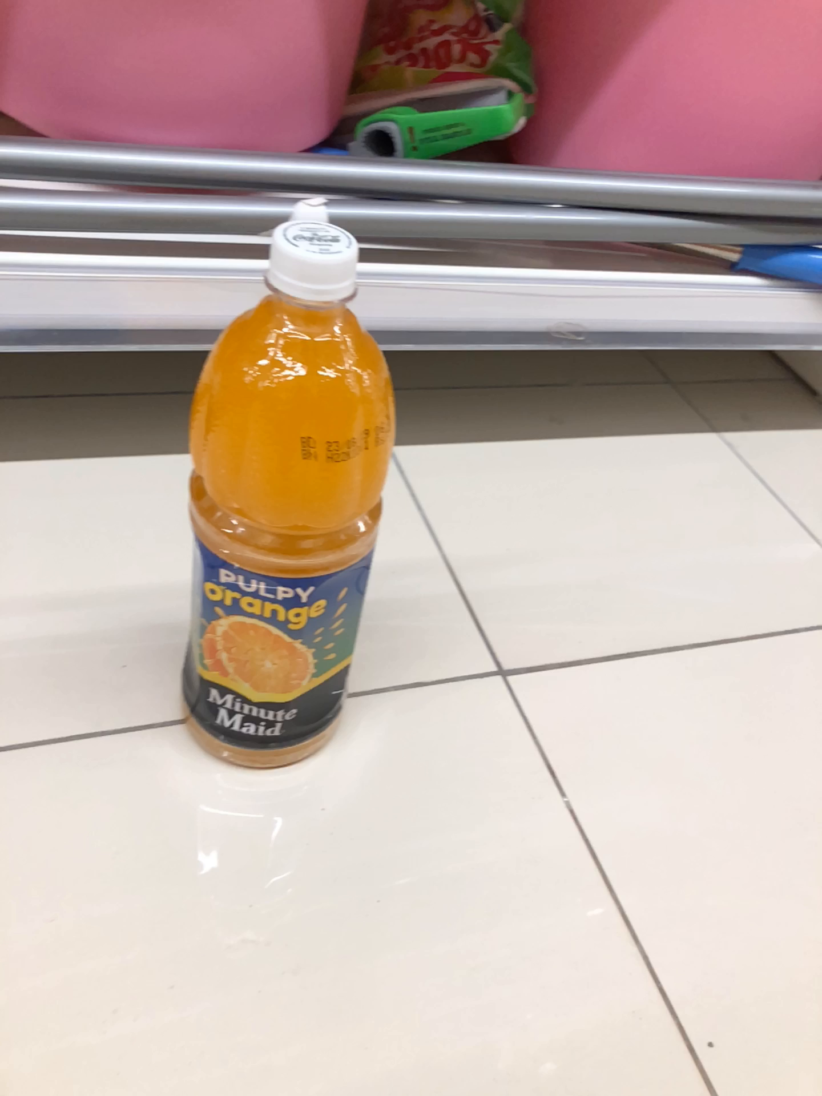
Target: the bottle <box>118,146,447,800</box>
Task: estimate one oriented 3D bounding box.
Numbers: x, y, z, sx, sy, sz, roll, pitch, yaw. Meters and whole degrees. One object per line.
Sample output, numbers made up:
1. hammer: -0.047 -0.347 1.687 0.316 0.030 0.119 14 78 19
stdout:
1. bottle: -0.063 -0.014 0.393 0.090 0.268 0.081 16 40 3
